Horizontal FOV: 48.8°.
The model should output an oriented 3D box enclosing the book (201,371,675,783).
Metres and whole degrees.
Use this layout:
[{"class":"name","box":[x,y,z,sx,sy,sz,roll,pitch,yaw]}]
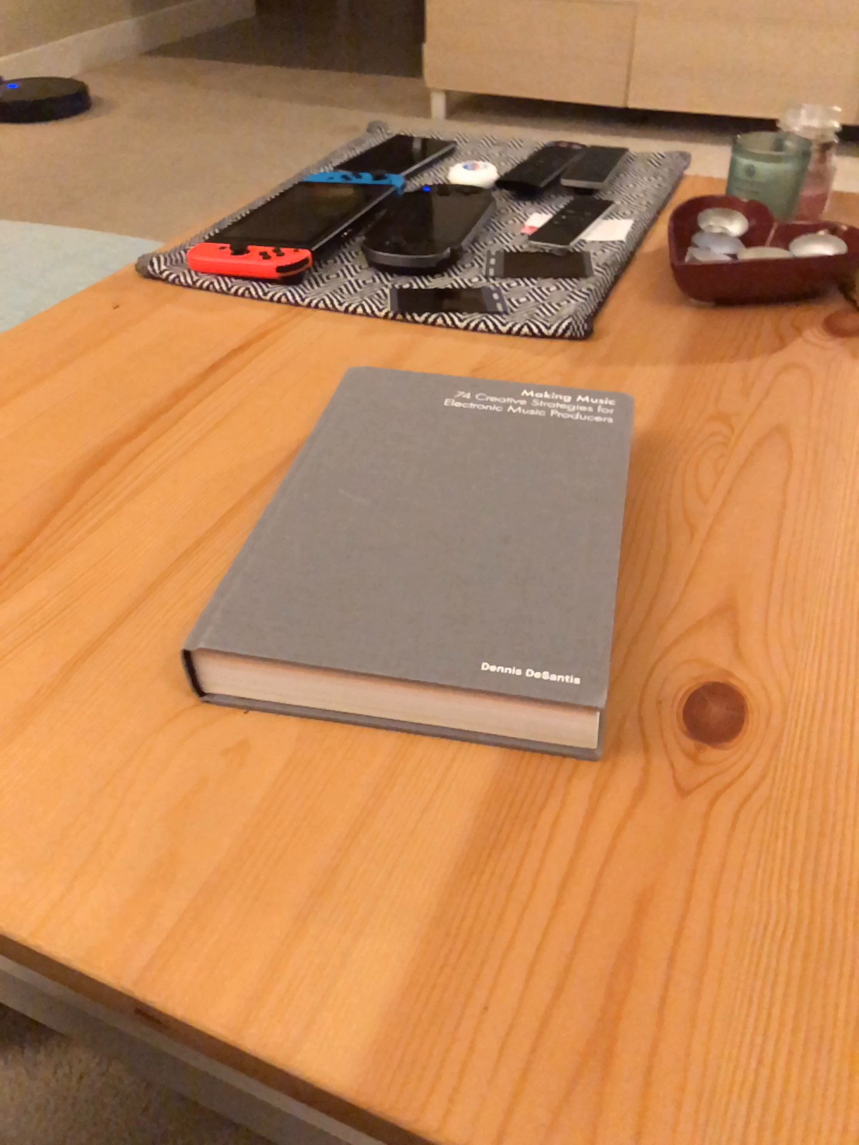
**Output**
[{"class":"book","box":[0.022,-0.018,0.432,0.166,0.030,0.229,8,40,10]}]
